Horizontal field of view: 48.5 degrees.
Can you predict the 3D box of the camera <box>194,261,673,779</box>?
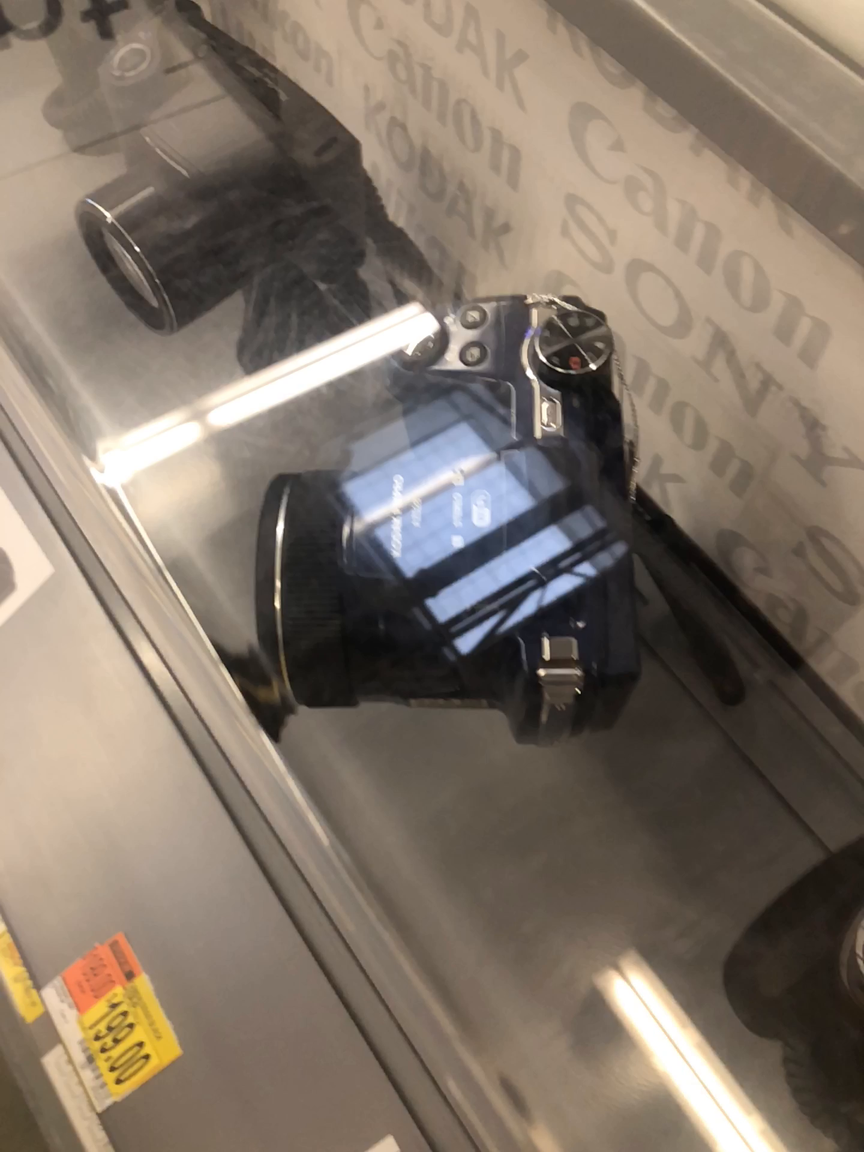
[{"bbox_3d":[-0.001,-0.015,0.286,0.110,0.080,0.130,1,62,-2],"label":"camera"}]
